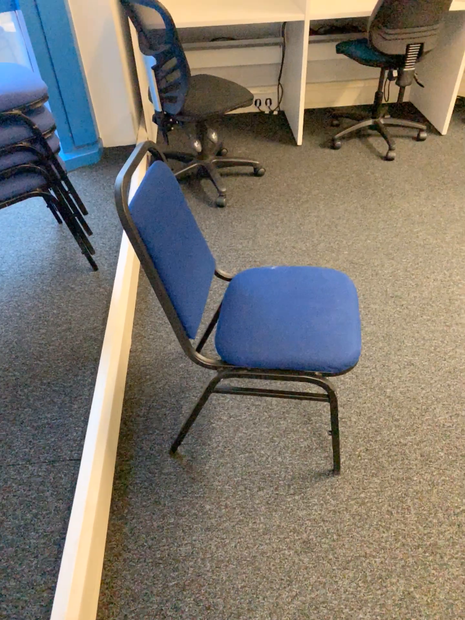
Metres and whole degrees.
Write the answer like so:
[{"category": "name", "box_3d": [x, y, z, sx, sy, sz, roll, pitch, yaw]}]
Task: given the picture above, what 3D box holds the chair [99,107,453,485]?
[{"category": "chair", "box_3d": [0.105, -0.006, 1.224, 0.574, 0.843, 0.477, 3, 43, 7]}]
